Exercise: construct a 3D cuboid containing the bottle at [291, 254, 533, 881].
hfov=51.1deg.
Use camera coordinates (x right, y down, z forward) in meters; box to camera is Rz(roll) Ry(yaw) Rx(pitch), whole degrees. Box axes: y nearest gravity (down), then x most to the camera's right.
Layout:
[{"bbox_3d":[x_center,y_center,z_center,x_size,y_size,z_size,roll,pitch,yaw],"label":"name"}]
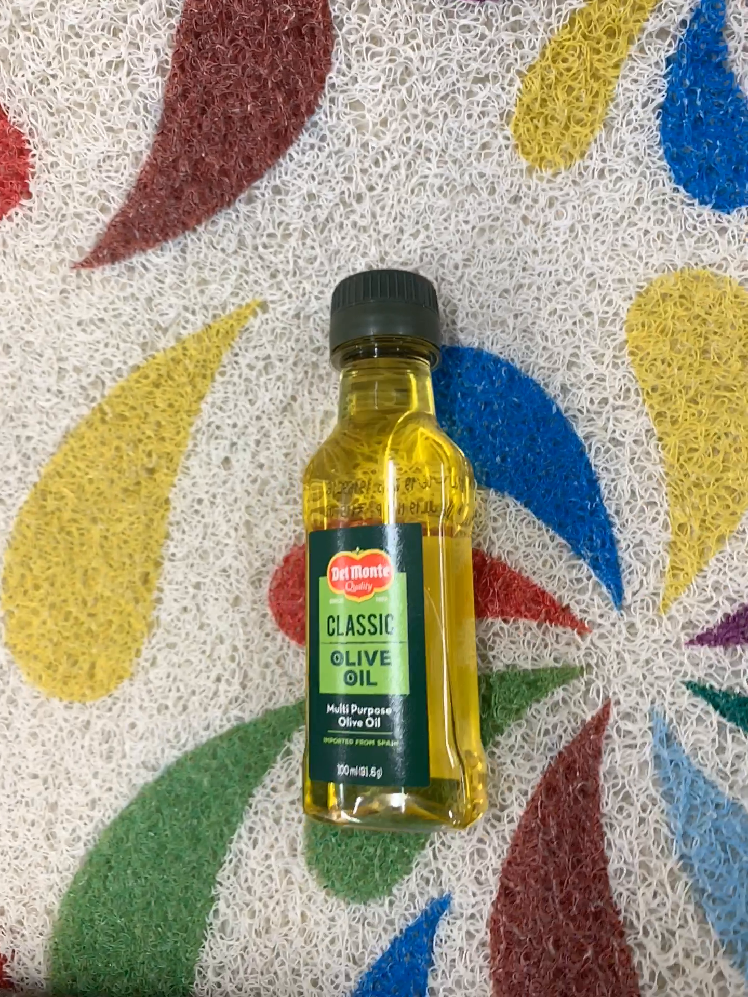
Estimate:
[{"bbox_3d":[0.011,0.014,0.188,0.050,0.040,0.130,-2,84,12],"label":"bottle"}]
